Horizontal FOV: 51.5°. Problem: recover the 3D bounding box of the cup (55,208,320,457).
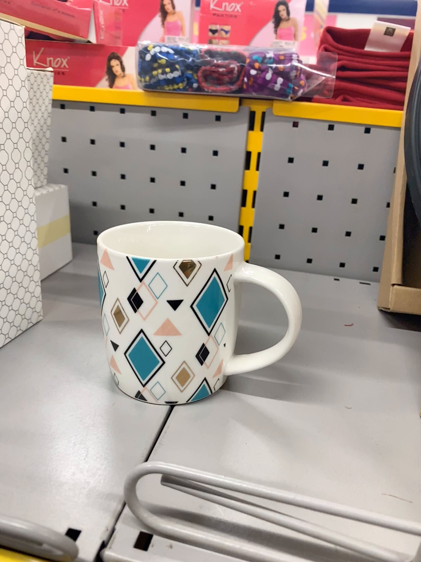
[{"bbox_3d":[-0.008,0.018,0.261,0.120,0.090,0.100,11,22,16],"label":"cup"}]
